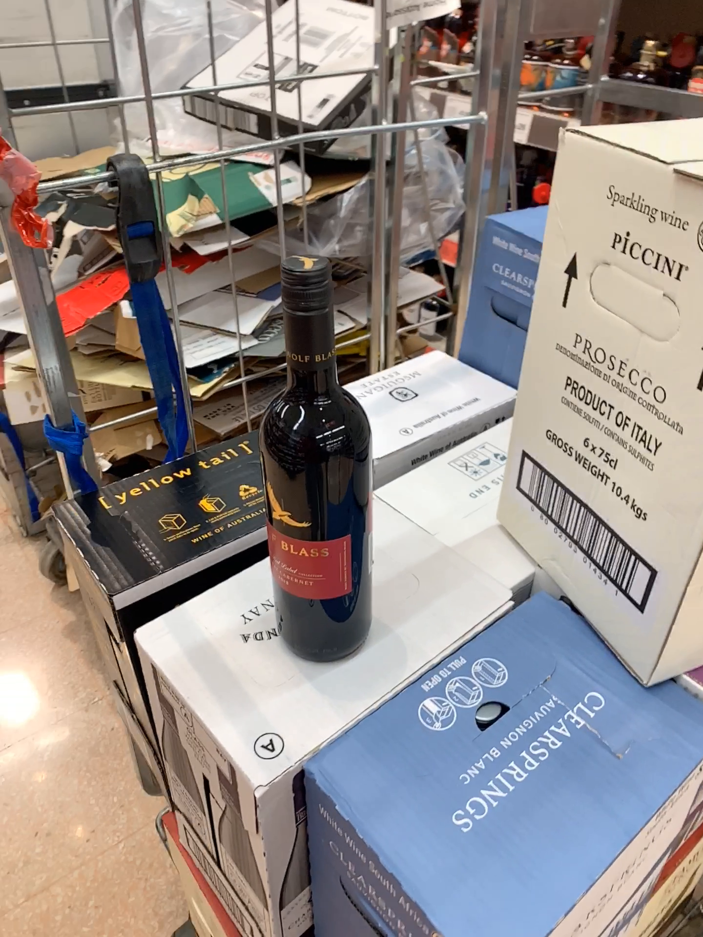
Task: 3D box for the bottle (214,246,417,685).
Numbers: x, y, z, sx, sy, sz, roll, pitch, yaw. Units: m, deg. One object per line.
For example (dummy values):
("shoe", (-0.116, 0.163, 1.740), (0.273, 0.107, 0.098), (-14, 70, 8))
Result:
("bottle", (-0.022, 0.008, 0.468), (0.080, 0.270, 0.076), (1, 35, -1))
